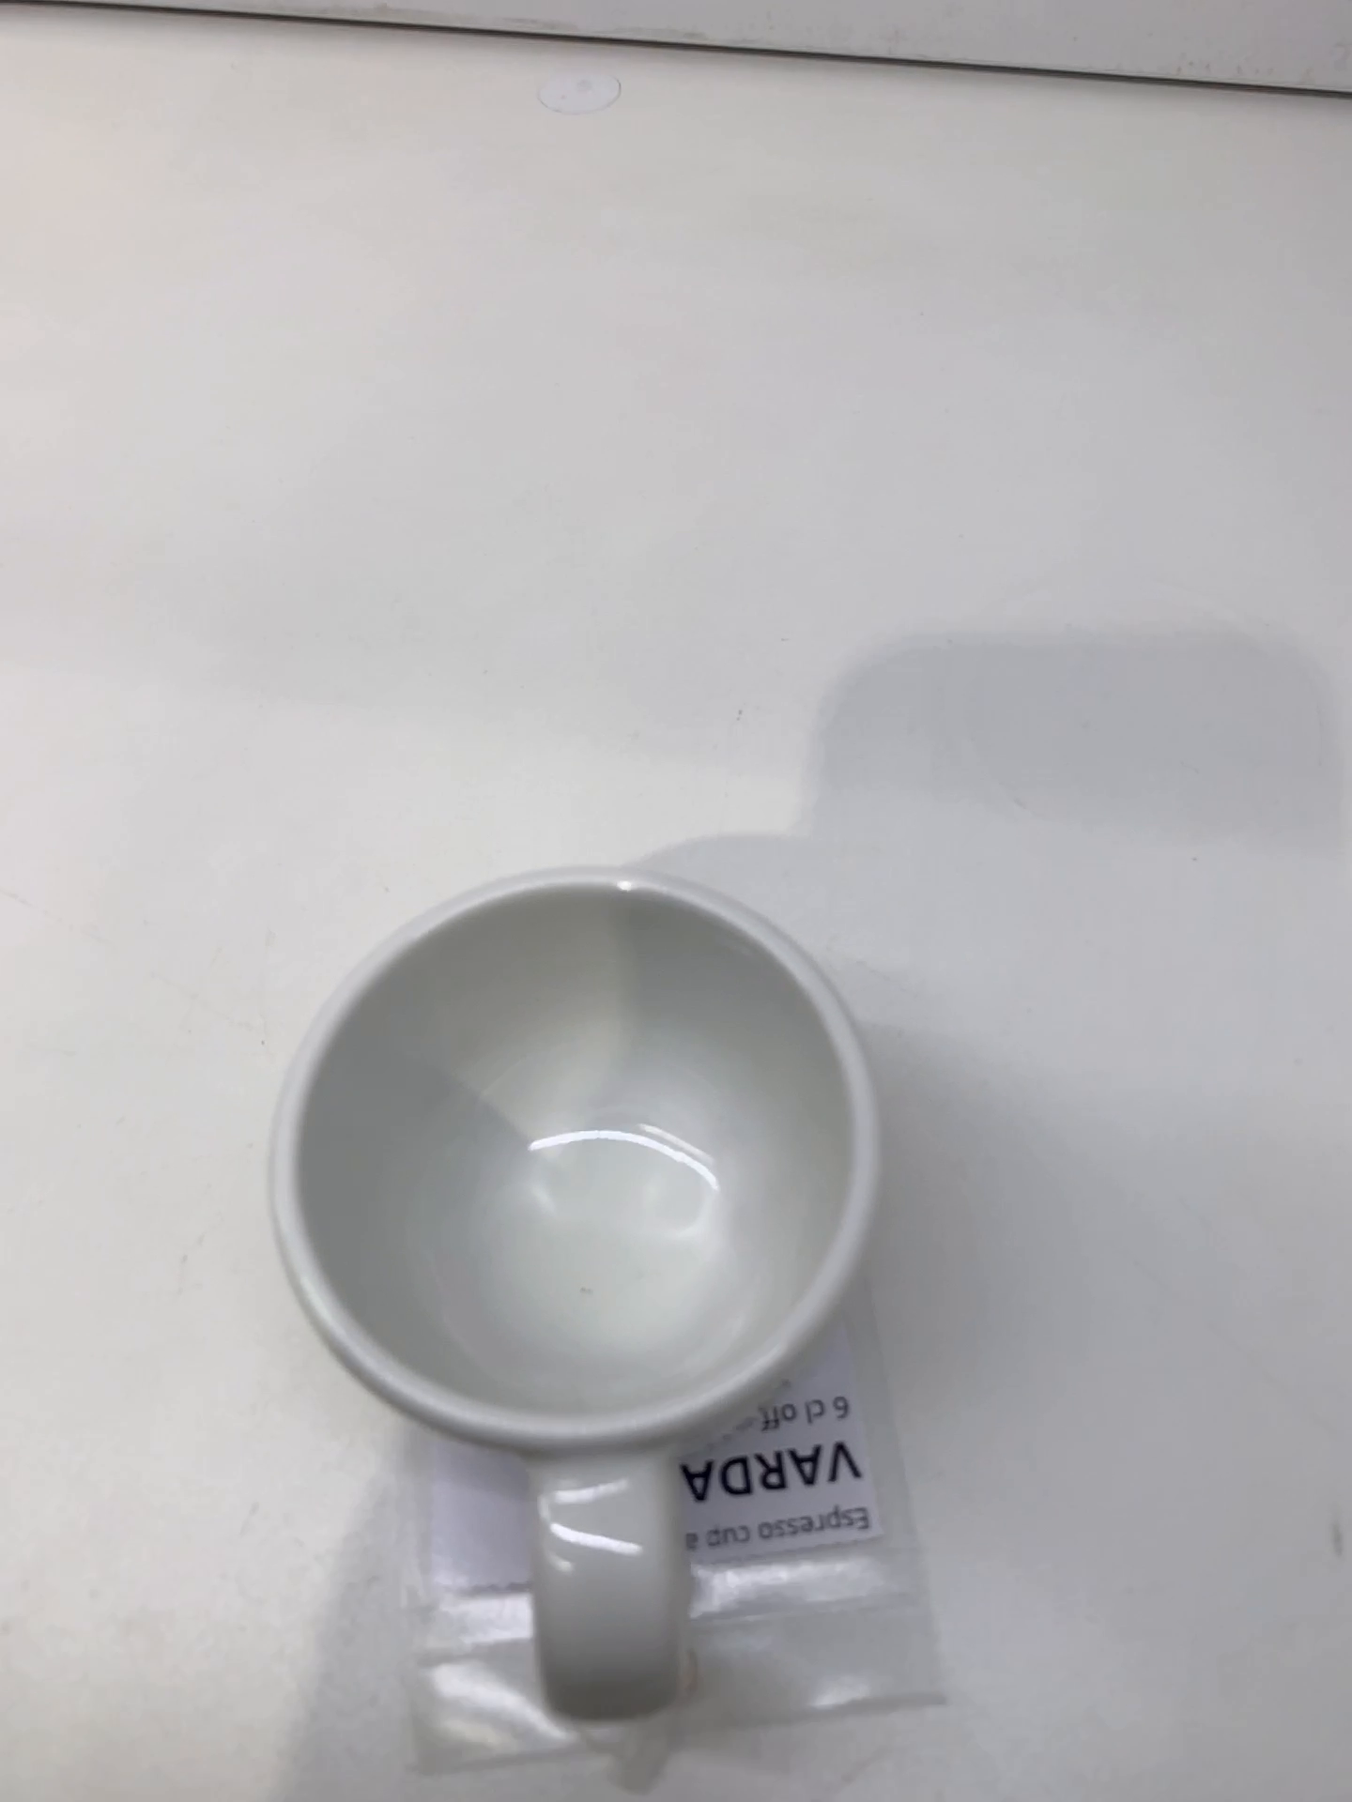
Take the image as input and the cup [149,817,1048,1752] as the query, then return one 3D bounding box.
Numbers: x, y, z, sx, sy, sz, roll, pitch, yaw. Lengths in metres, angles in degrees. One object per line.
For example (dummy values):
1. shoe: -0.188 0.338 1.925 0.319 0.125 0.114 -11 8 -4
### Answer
1. cup: -0.009 0.038 0.147 0.070 0.040 0.080 -6 57 -1
